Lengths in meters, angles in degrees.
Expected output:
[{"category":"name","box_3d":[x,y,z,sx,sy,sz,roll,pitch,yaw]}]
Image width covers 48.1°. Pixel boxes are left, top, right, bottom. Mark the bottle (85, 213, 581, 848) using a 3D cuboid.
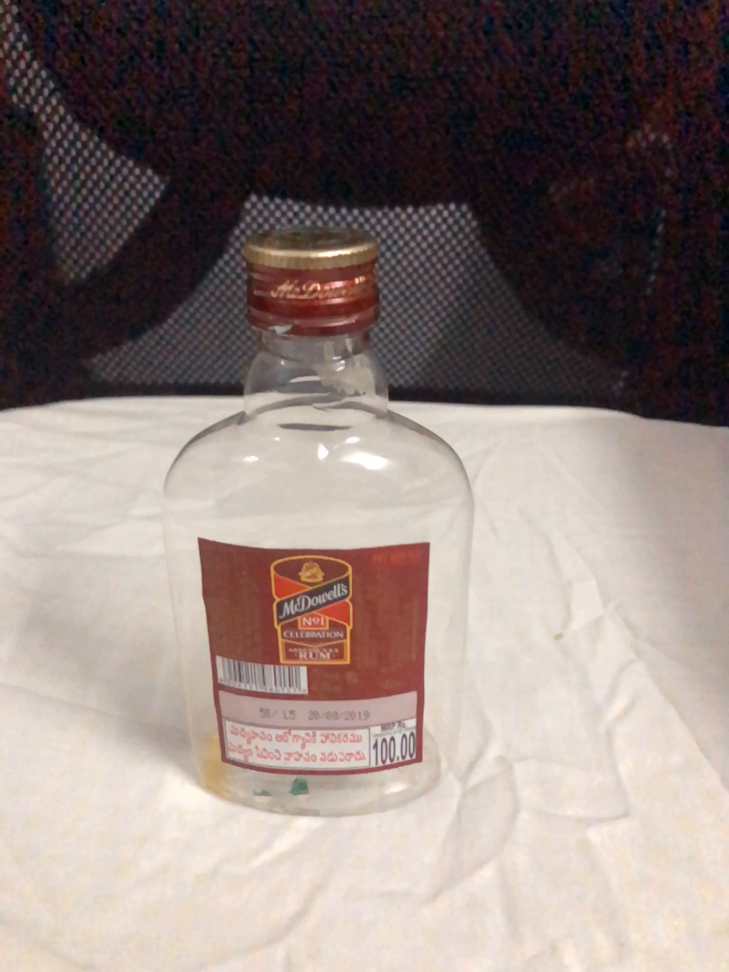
[{"category":"bottle","box_3d":[-0.007,0.017,0.183,0.080,0.139,0.040,2,29,0]}]
